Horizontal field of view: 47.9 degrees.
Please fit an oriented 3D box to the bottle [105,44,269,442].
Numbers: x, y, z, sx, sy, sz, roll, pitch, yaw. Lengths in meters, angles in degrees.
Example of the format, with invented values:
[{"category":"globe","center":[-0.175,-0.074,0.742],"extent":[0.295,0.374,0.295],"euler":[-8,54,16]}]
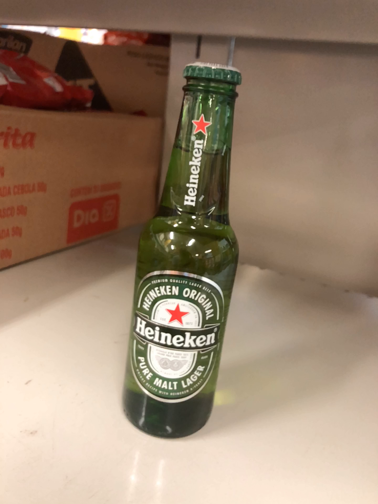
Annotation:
[{"category":"bottle","center":[-0.008,0.001,0.234],"extent":[0.060,0.199,0.060],"euler":[5,19,-2]}]
